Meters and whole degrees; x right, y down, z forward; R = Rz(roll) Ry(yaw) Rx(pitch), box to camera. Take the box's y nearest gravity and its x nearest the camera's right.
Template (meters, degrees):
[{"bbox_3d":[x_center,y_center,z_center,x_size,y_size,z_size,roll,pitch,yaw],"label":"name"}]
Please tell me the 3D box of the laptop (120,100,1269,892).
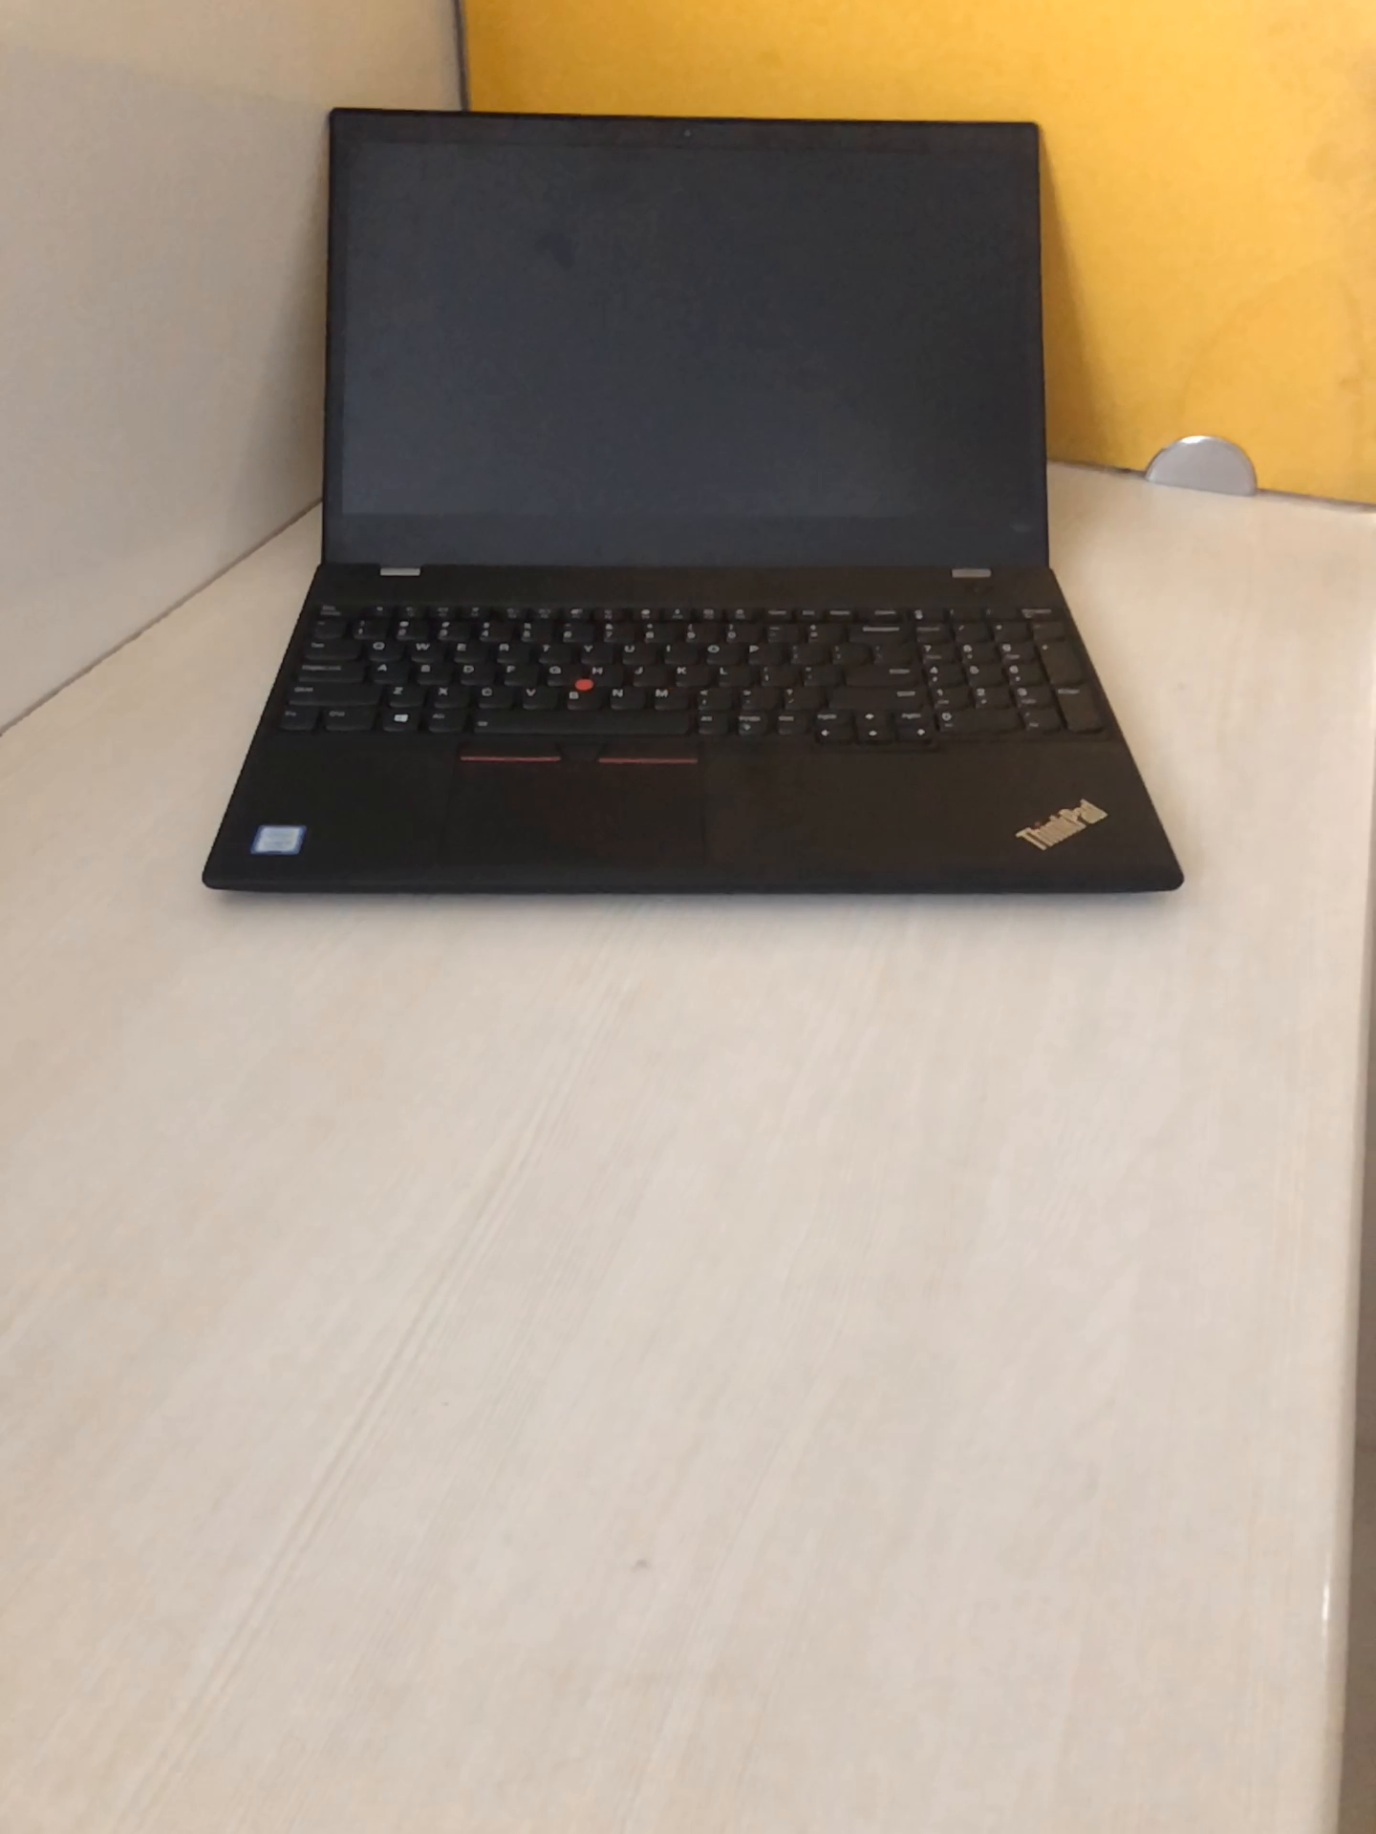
[{"bbox_3d":[-0.002,-0.211,0.659,0.344,0.150,0.423,1,41,-2],"label":"laptop"}]
